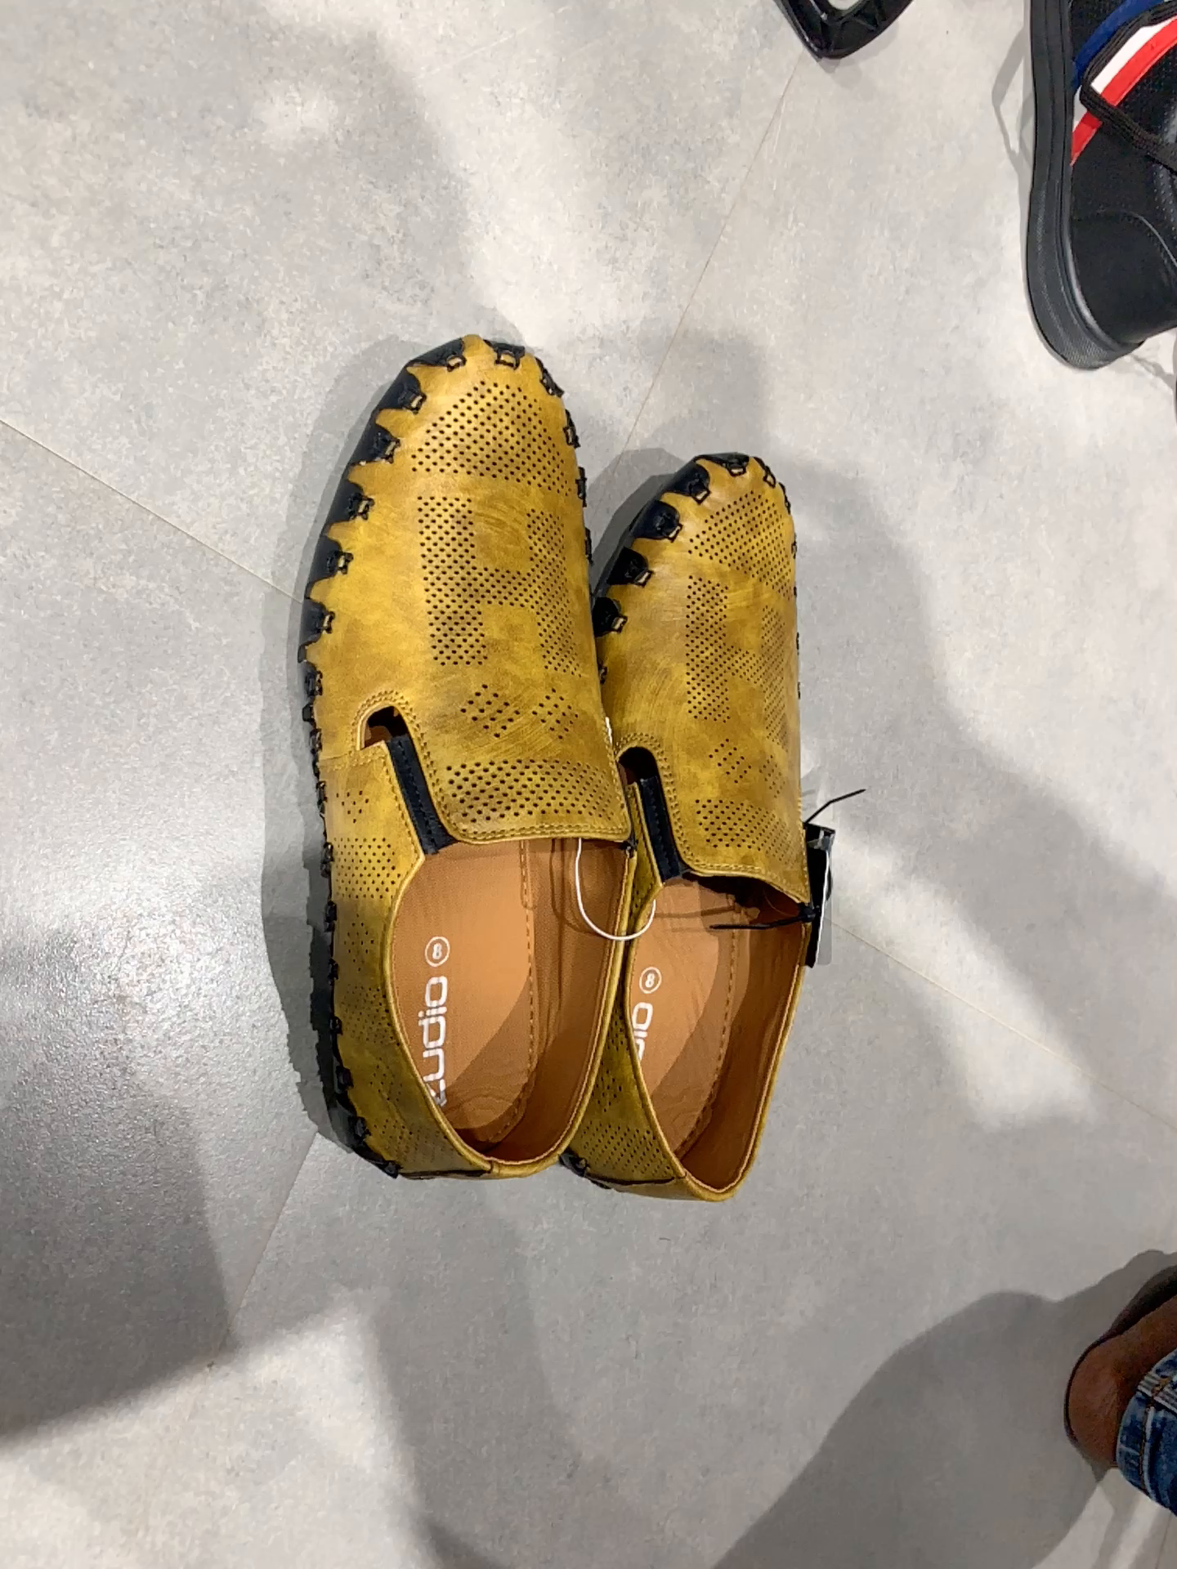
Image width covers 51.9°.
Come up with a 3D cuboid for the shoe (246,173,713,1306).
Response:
[{"bbox_3d":[-0.042,-0.012,0.418,0.100,0.120,0.320,4,89,-33],"label":"shoe"}]

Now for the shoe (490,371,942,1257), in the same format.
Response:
[{"bbox_3d":[0.049,0.014,0.455,0.110,0.080,0.290,10,85,-33],"label":"shoe"}]
